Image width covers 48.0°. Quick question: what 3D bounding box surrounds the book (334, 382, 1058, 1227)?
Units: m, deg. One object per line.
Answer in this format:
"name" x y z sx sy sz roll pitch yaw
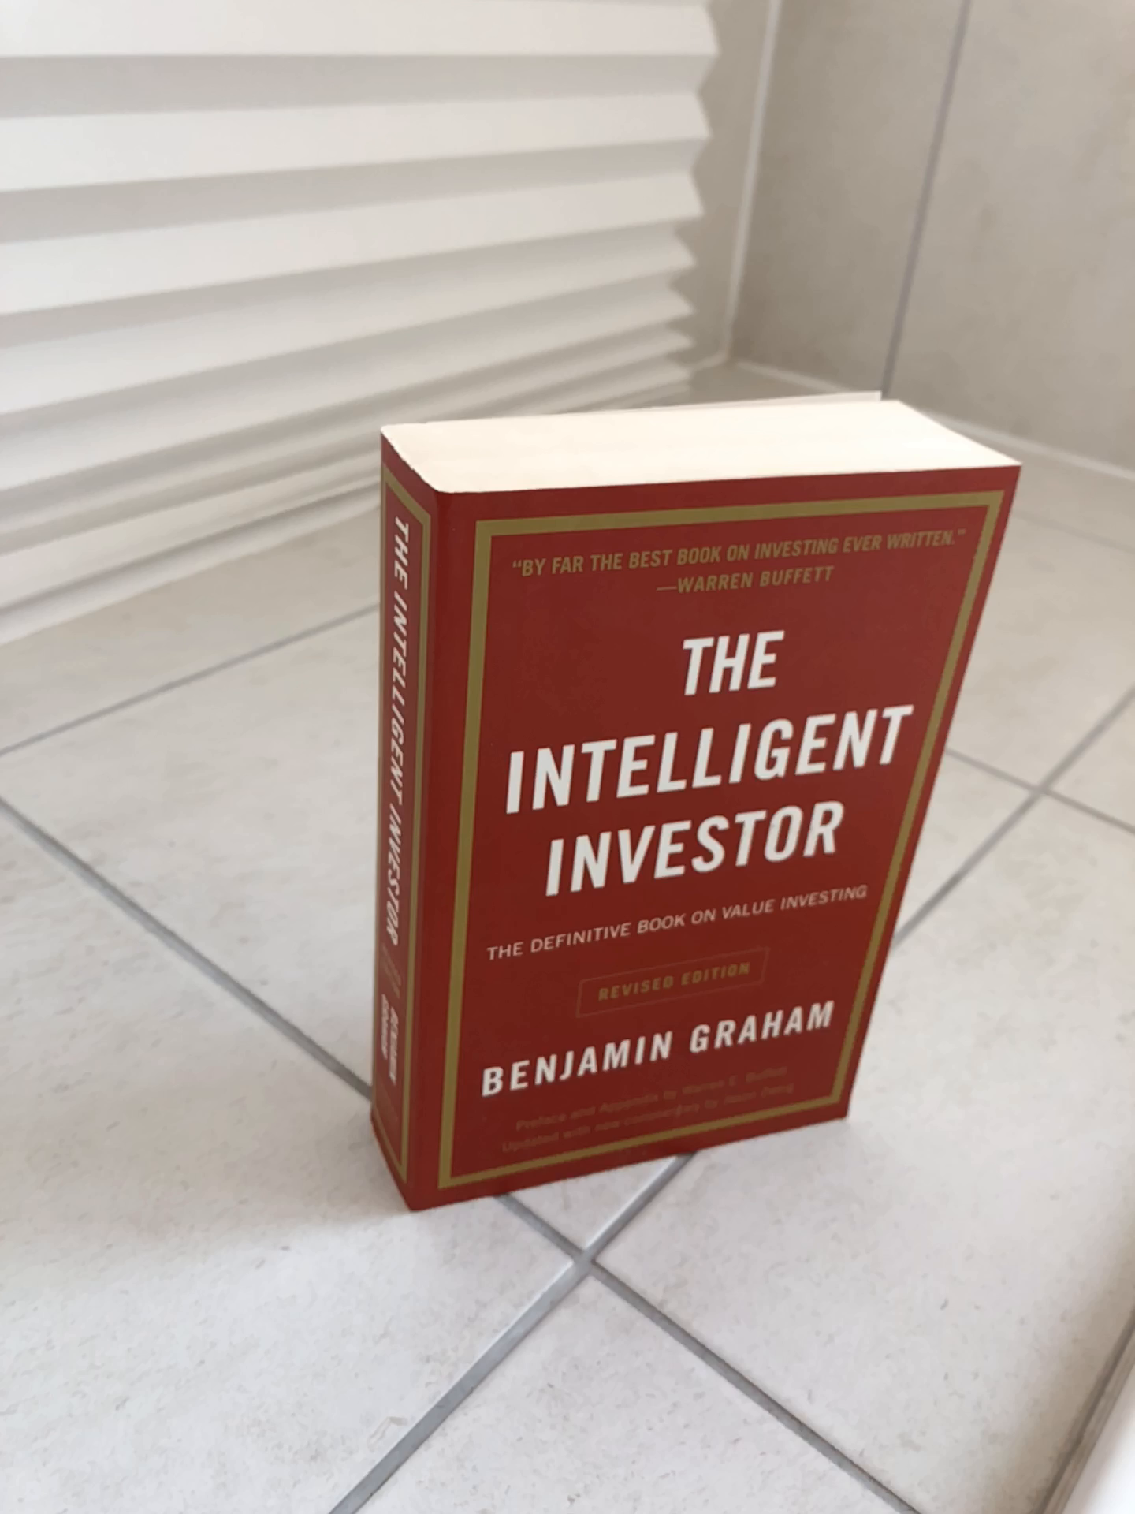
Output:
"book" 0.020 0.015 0.333 0.149 0.206 0.057 -7 34 -19
